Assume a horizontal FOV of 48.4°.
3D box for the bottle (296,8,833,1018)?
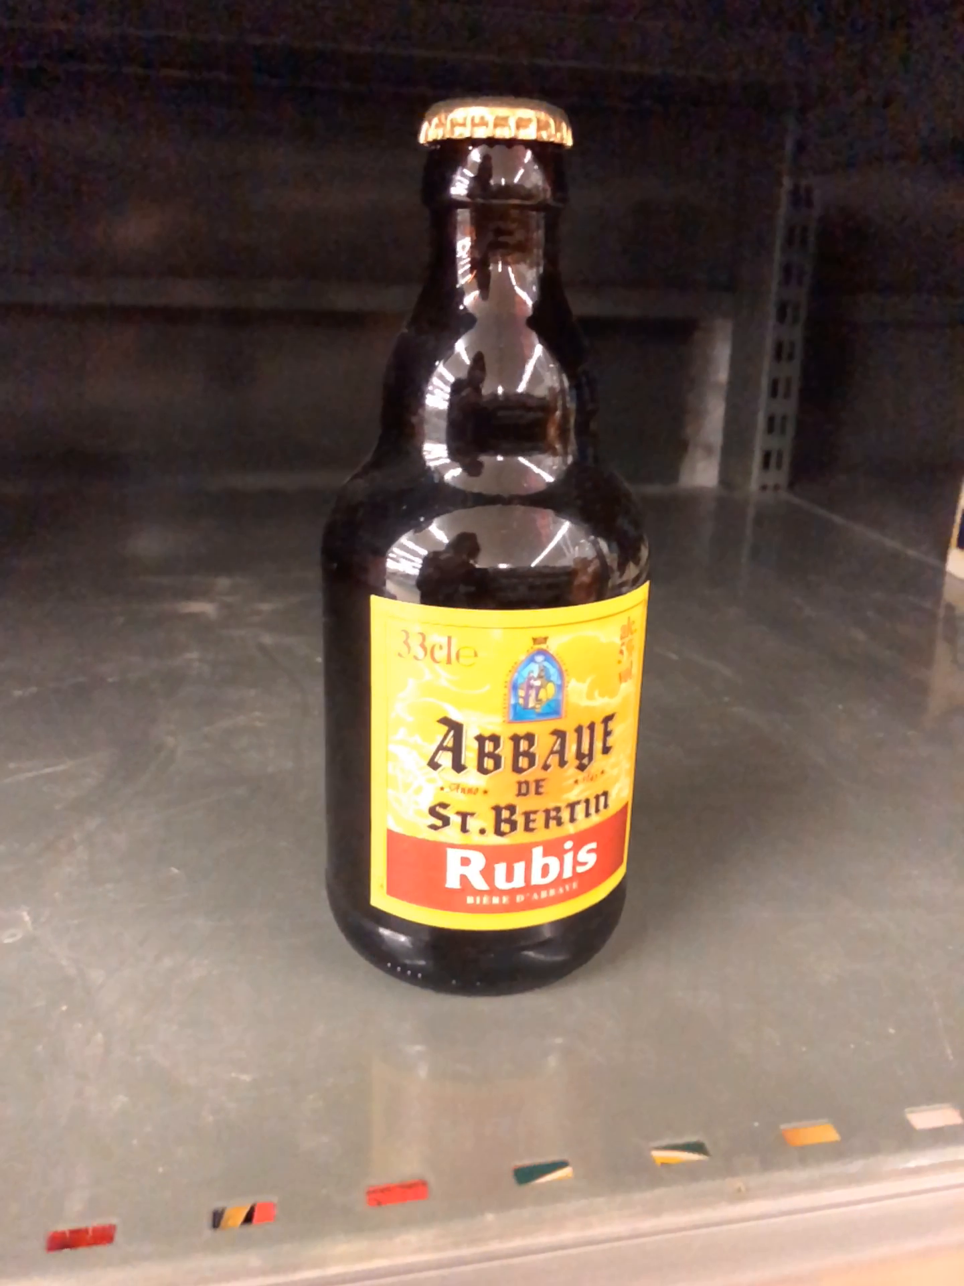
[{"bbox_3d":[0.007,-0.022,0.218,0.080,0.169,0.070,-2,19,-11],"label":"bottle"}]
